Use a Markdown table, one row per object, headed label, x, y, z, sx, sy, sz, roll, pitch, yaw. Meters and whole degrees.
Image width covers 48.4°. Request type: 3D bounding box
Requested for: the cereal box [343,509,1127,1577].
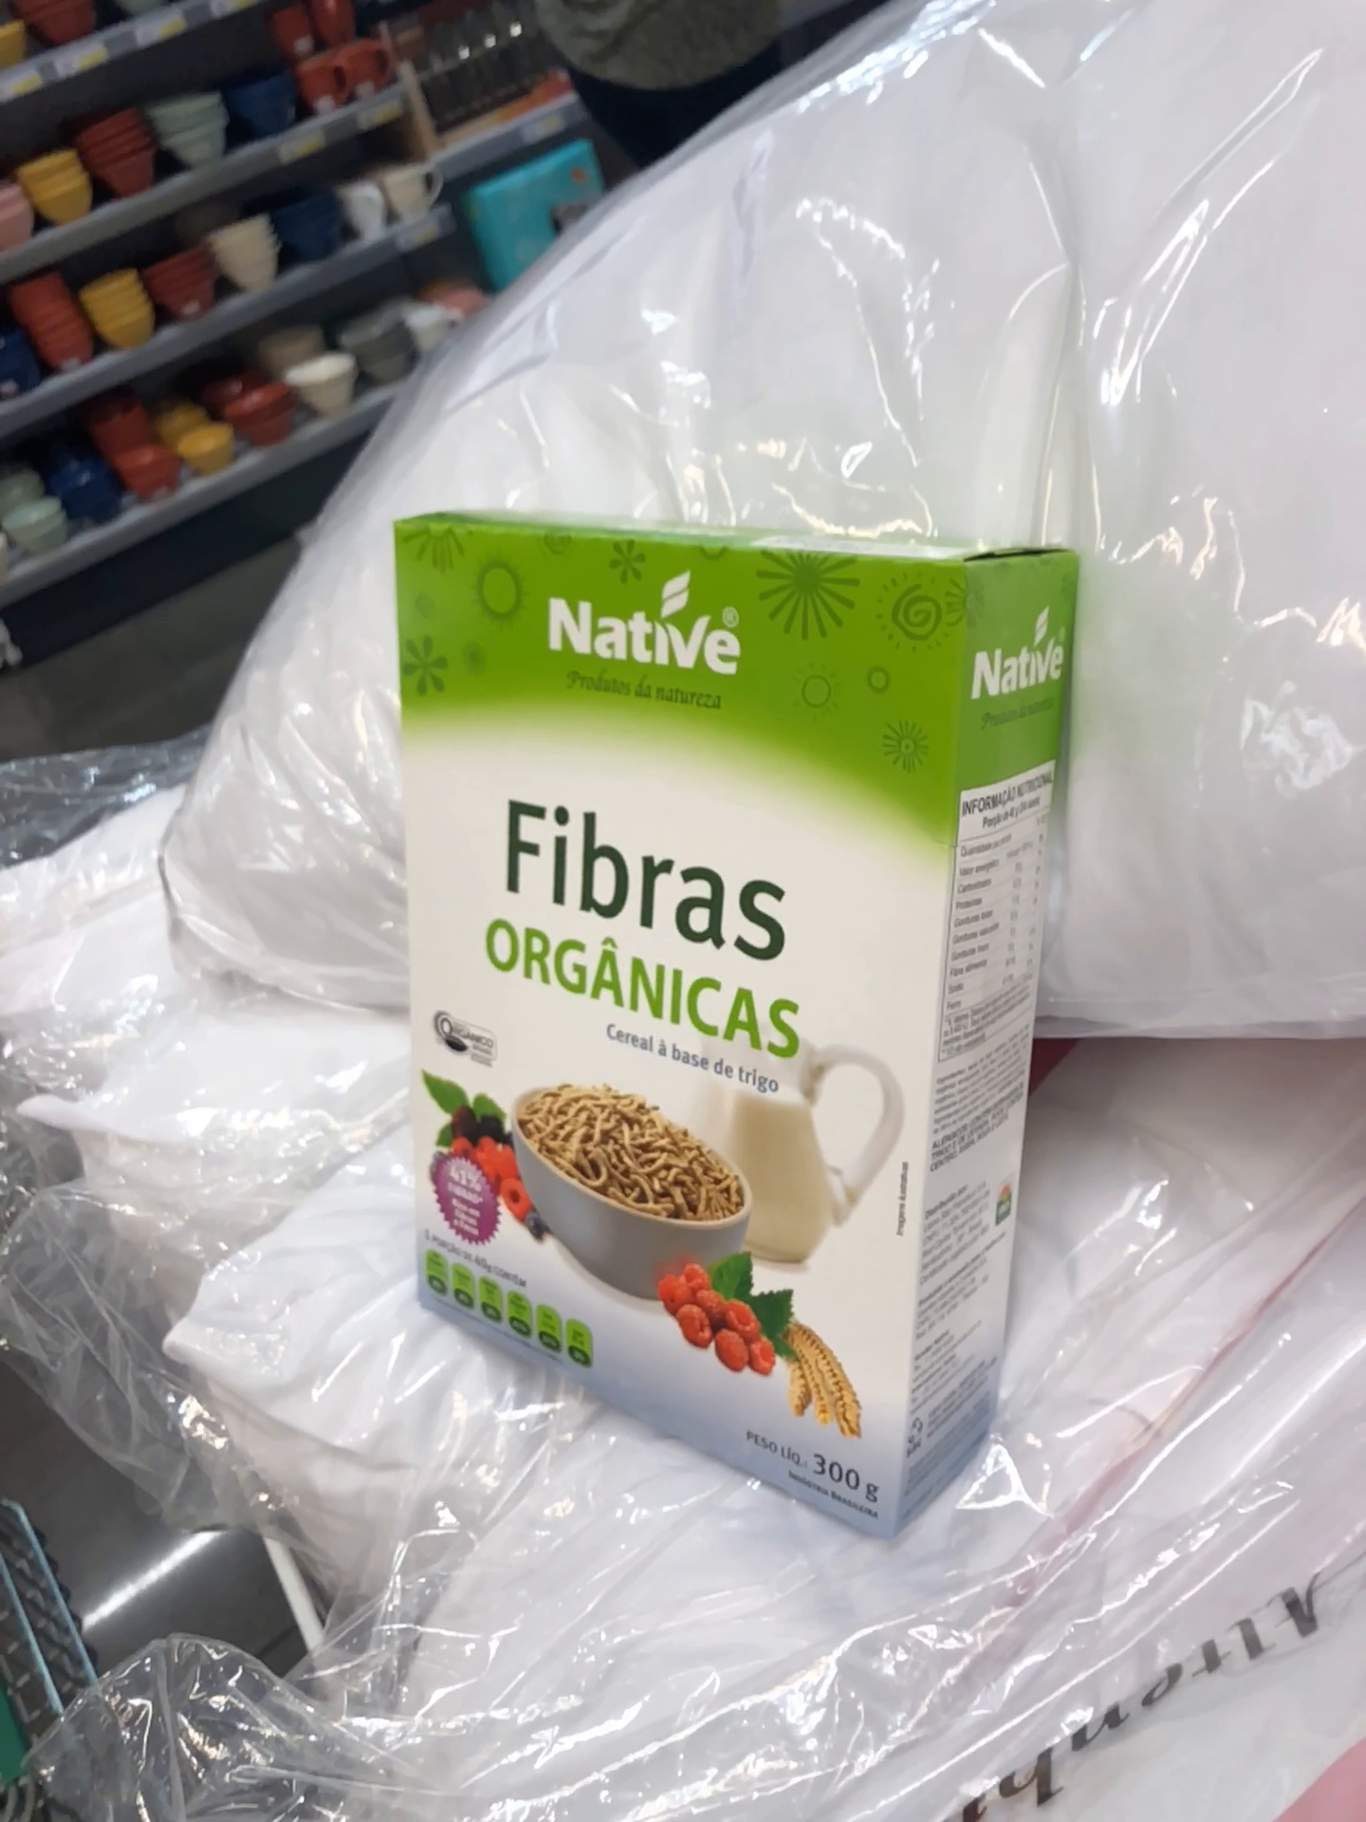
| label | x | y | z | sx | sy | sz | roll | pitch | yaw |
| --- | --- | --- | --- | --- | --- | --- | --- | --- | --- |
| cereal box | 0.002 | 0.018 | 0.397 | 0.191 | 0.229 | 0.060 | 14 | 22 | 37 |
